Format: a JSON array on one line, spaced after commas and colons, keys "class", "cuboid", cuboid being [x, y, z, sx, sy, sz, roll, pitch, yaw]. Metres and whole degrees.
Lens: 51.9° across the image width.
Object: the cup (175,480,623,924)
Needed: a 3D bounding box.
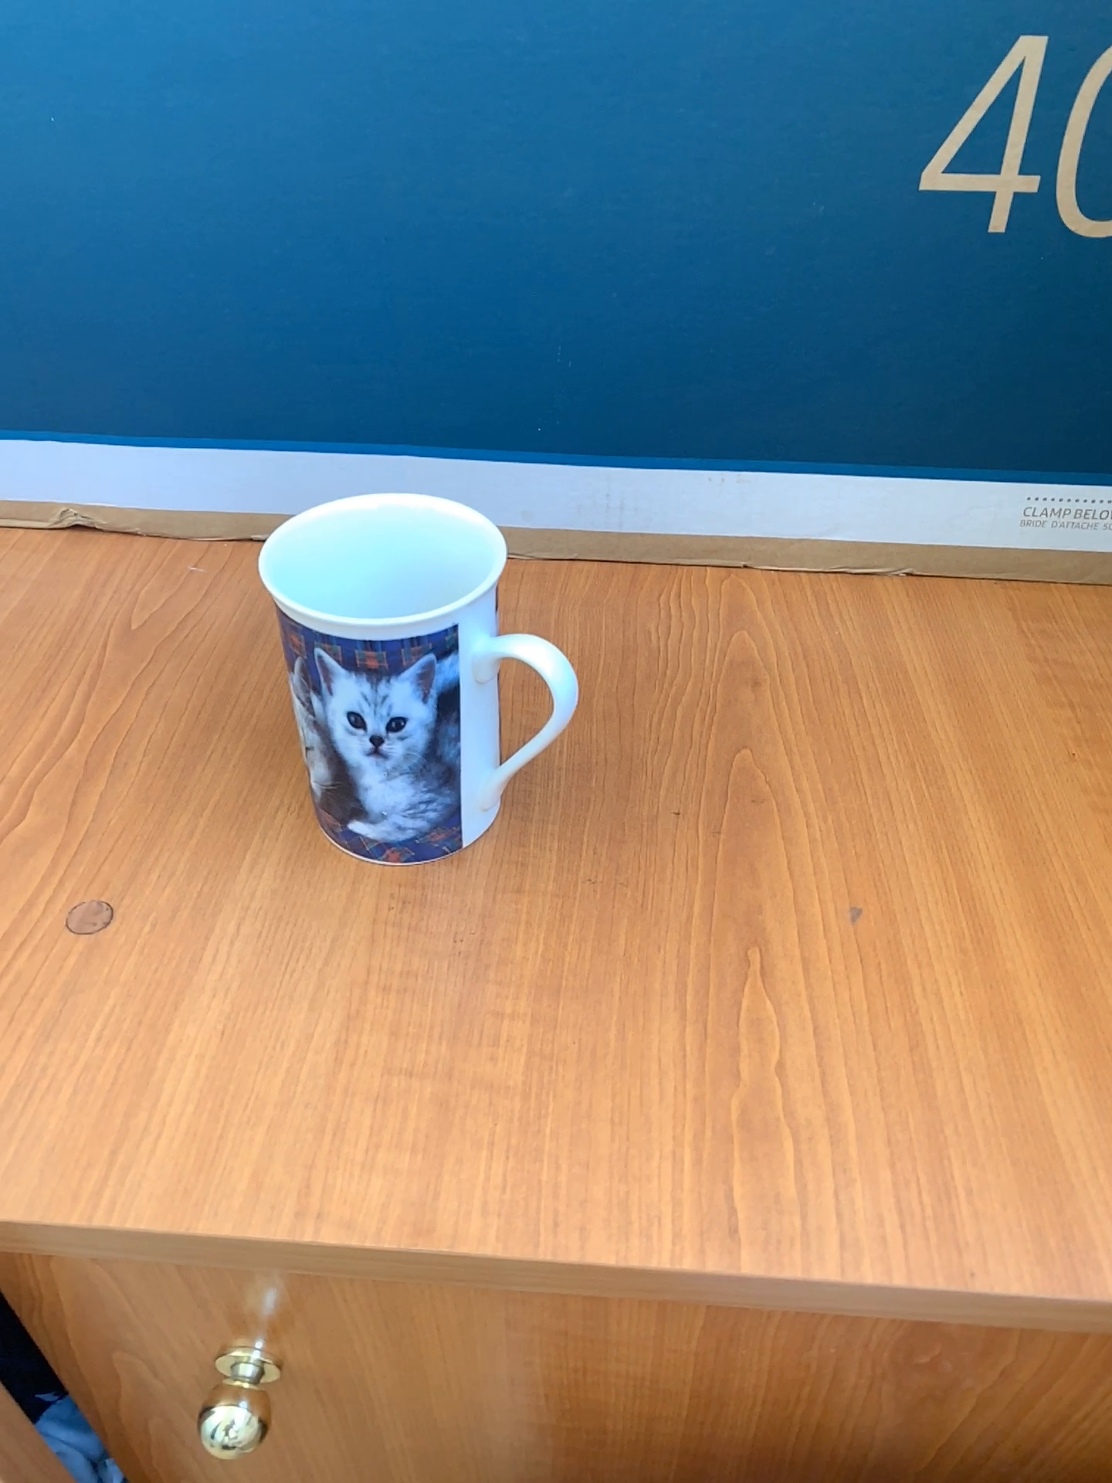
[{"class": "cup", "cuboid": [-0.042, -0.015, 0.368, 0.110, 0.100, 0.080, 9, 40, 12]}]
